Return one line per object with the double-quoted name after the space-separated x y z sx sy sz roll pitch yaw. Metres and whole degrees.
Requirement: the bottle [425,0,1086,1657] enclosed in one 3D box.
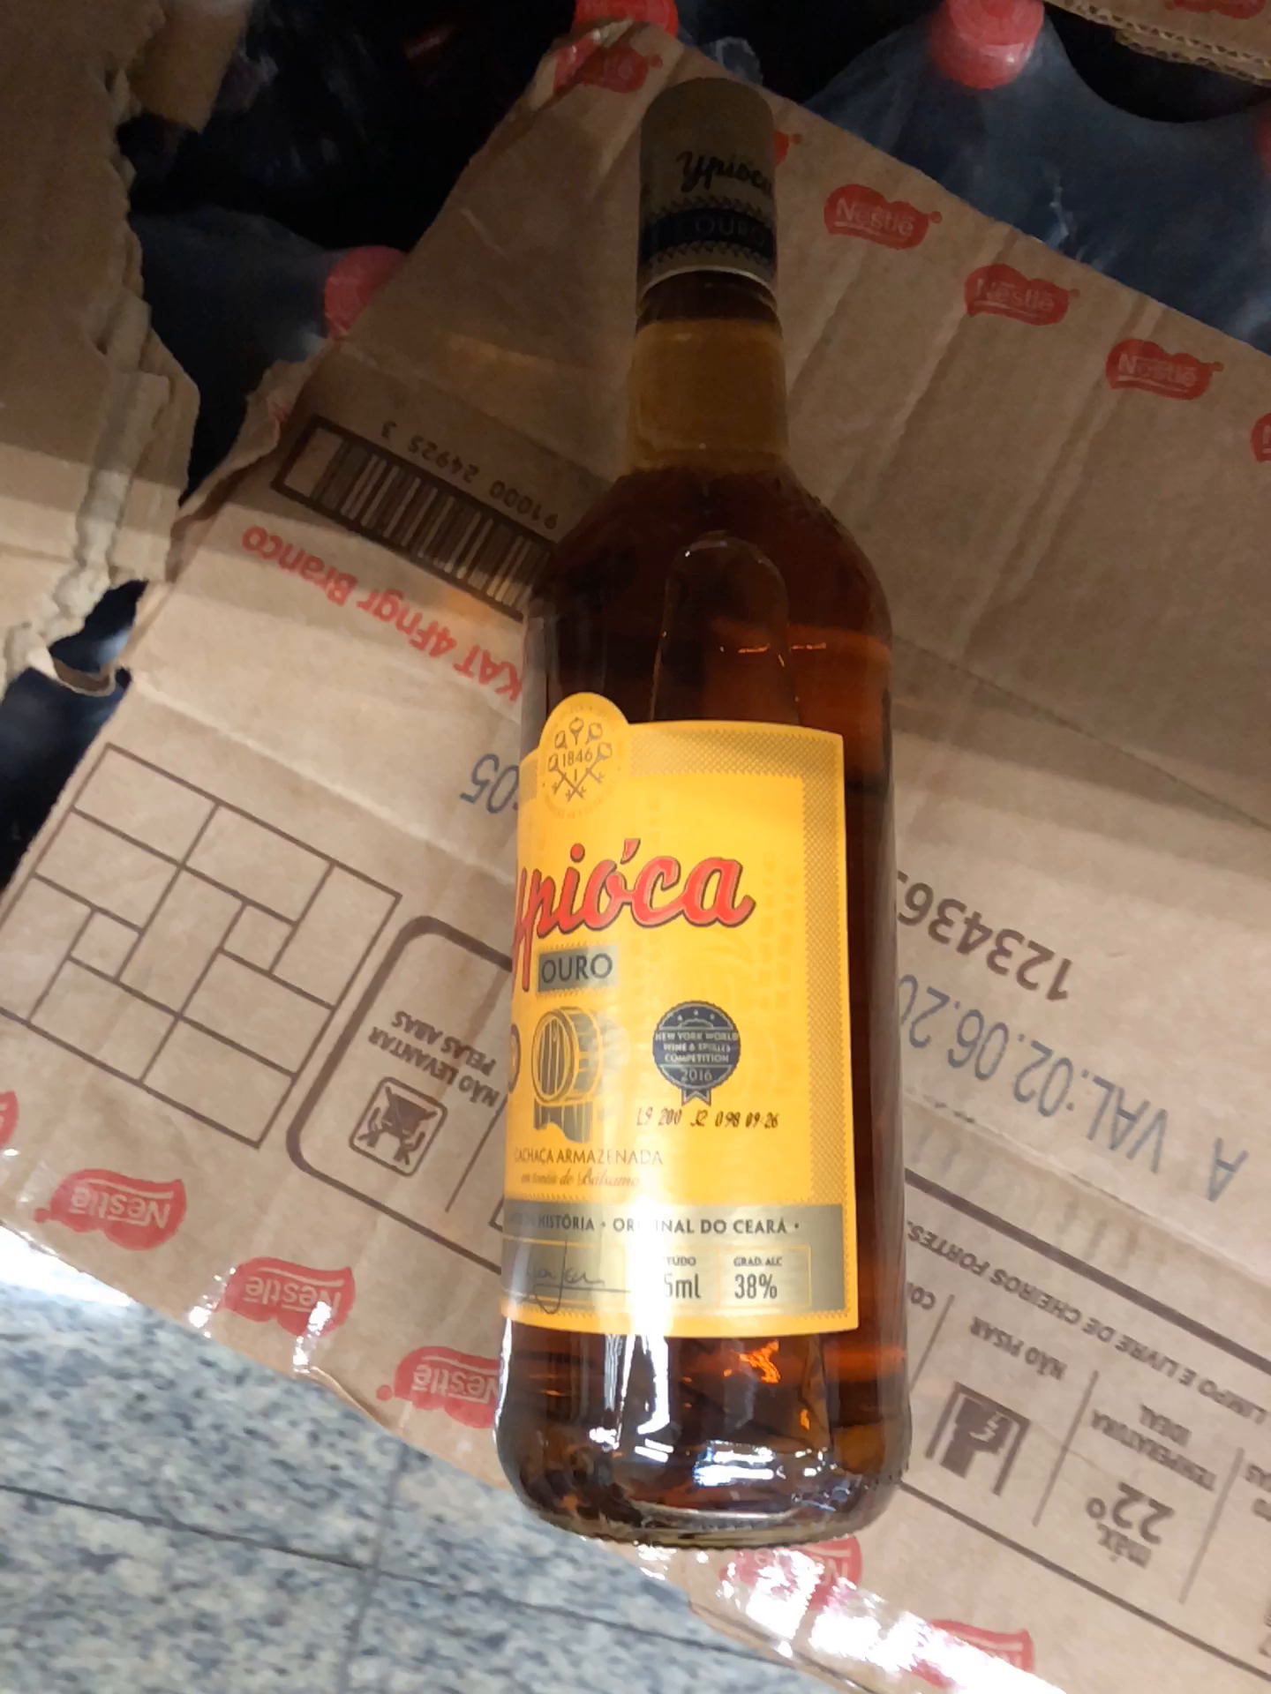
0.026 -0.027 0.286 0.090 0.080 0.310 11 75 -41 "bottle"
